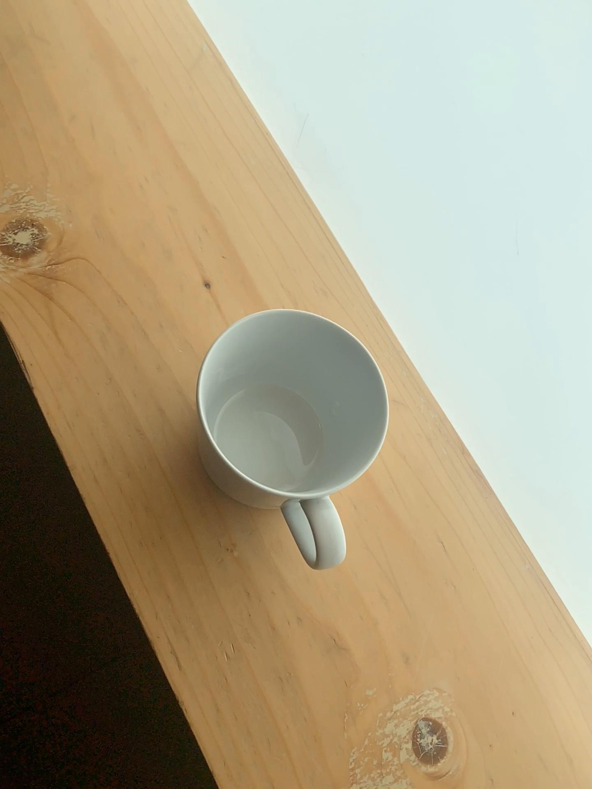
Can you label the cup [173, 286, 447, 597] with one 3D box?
[{"bbox_3d":[-0.001,0.027,0.329,0.090,0.080,0.130,-17,74,-19],"label":"cup"}]
